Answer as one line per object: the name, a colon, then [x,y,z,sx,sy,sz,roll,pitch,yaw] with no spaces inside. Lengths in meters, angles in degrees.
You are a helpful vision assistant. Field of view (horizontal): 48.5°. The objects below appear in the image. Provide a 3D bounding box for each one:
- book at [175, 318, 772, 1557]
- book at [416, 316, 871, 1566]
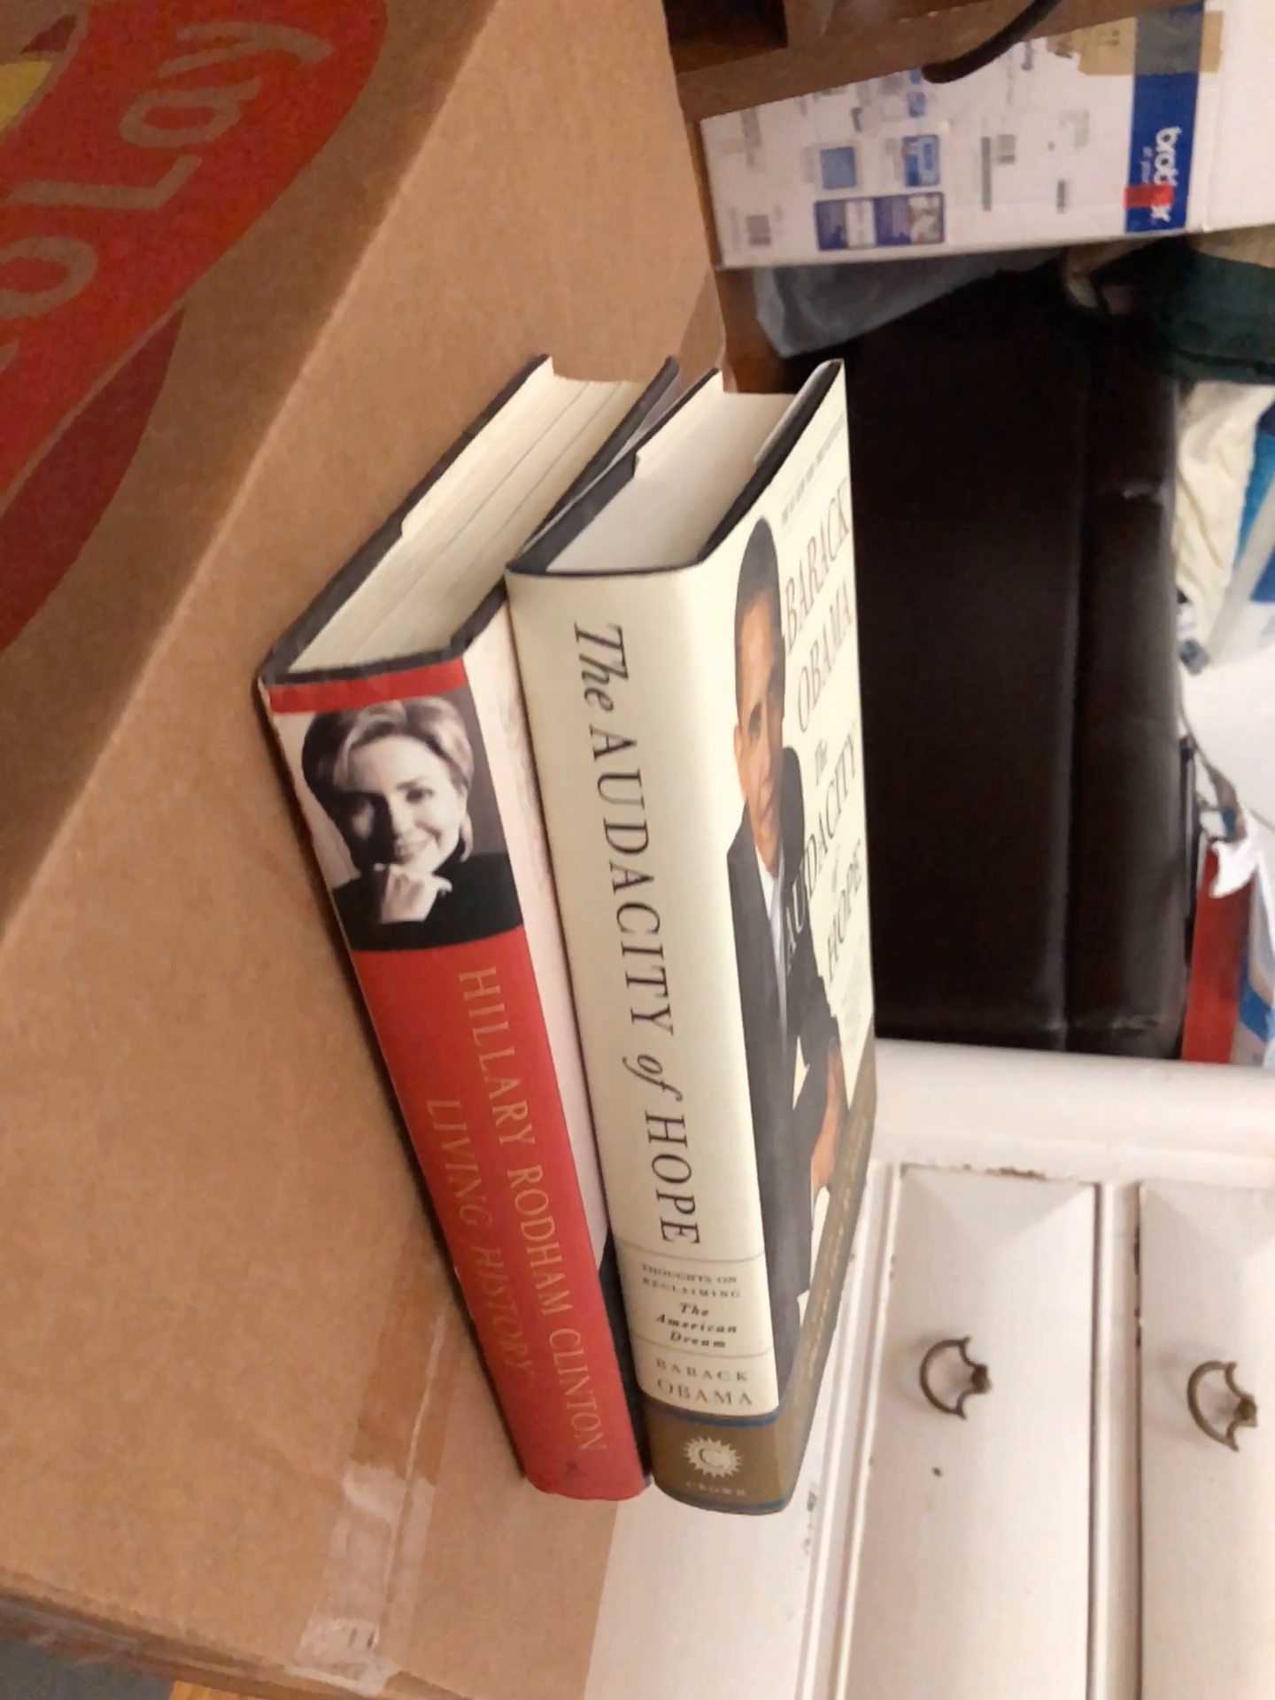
book: [-0.013,0.024,0.349,0.171,0.040,0.250,-68,154,-50]
book: [0.023,0.015,0.361,0.191,0.040,0.250,-63,150,-55]
